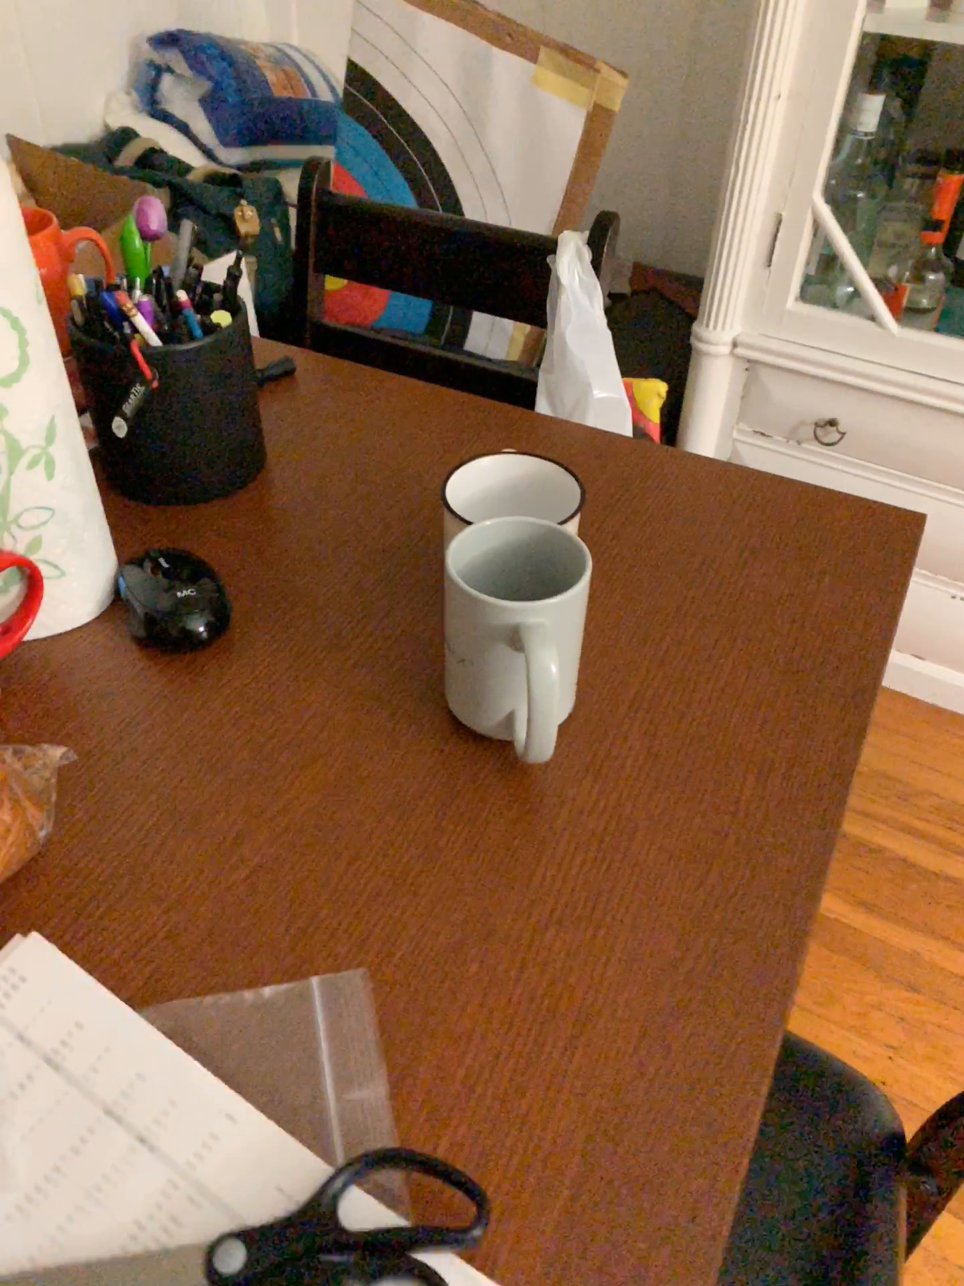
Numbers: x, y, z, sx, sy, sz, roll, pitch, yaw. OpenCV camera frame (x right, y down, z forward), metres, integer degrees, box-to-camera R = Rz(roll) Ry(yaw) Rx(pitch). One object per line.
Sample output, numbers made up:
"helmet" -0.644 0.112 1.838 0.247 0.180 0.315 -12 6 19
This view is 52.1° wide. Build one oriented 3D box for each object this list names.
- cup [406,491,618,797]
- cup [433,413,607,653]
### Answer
"cup" 0.020 -0.003 0.577 0.100 0.099 0.141 7 42 6
"cup" 0.028 -0.079 0.689 0.100 0.099 0.131 7 42 6
